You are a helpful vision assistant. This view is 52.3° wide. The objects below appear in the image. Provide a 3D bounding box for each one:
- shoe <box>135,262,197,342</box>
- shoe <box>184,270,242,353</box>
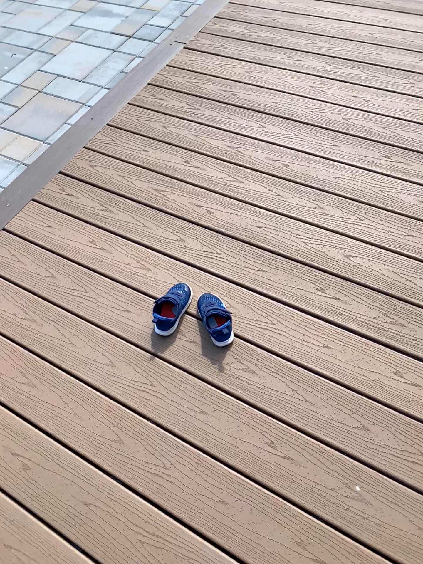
[{"bbox_3d":[-0.113,0.051,1.110,0.080,0.090,0.170,15,59,17],"label":"shoe"},{"bbox_3d":[0.004,0.072,1.088,0.080,0.090,0.171,-21,56,-7],"label":"shoe"}]
